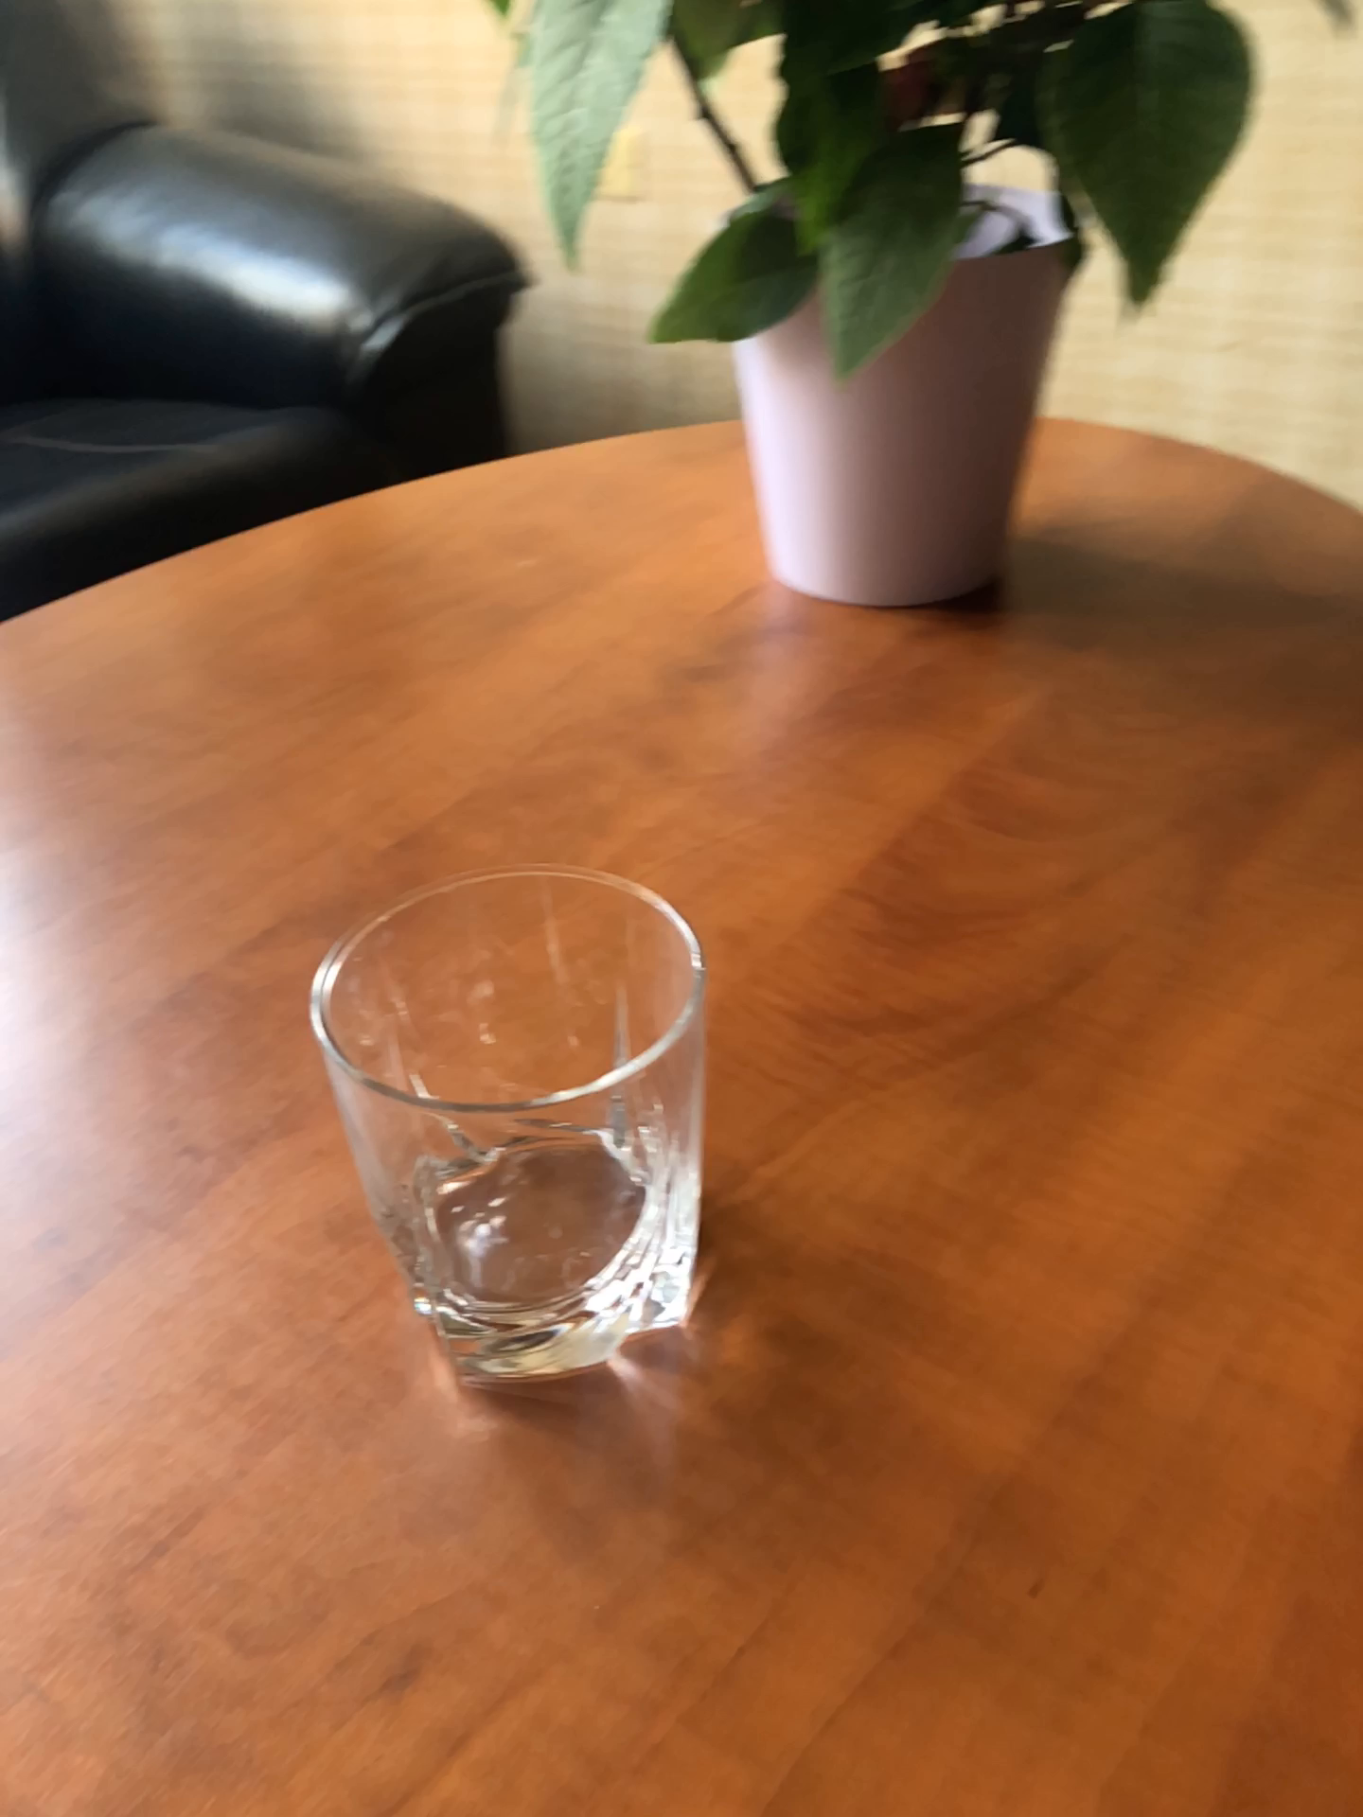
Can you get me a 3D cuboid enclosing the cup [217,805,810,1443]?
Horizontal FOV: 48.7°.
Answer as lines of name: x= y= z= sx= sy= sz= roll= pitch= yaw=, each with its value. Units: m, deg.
cup: x=-0.028 y=0.043 z=0.328 sx=0.094 sy=0.086 sz=0.089 roll=-2 pitch=35 yaw=1
